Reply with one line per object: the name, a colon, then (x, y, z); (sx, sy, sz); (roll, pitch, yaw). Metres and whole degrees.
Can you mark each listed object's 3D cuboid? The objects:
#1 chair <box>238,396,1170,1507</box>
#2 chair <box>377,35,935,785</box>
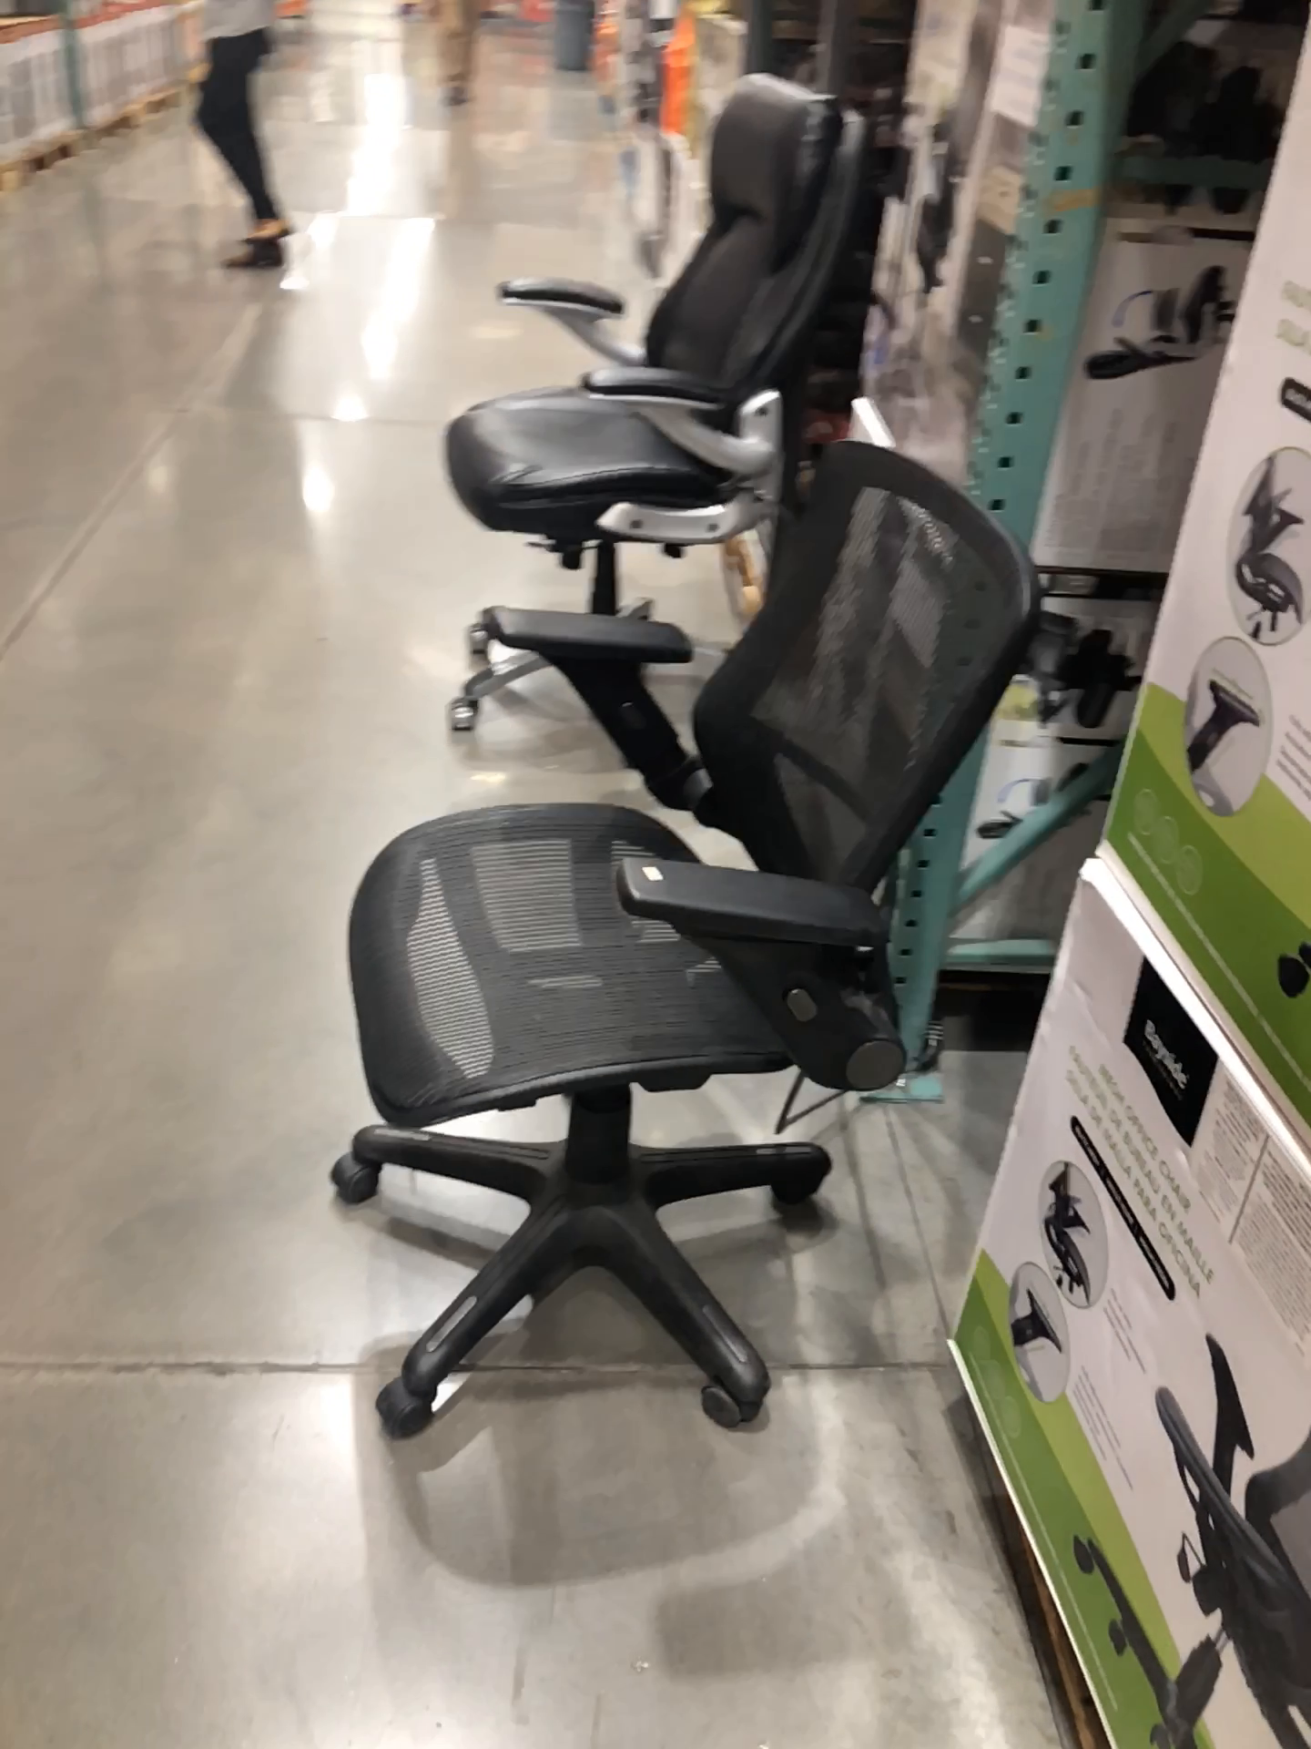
chair: (-0.044, 0.052, 1.545); (0.699, 0.936, 0.637); (-4, 34, -13)
chair: (-0.093, -0.917, 2.801); (0.799, 1.145, 0.908); (-4, 34, -12)
